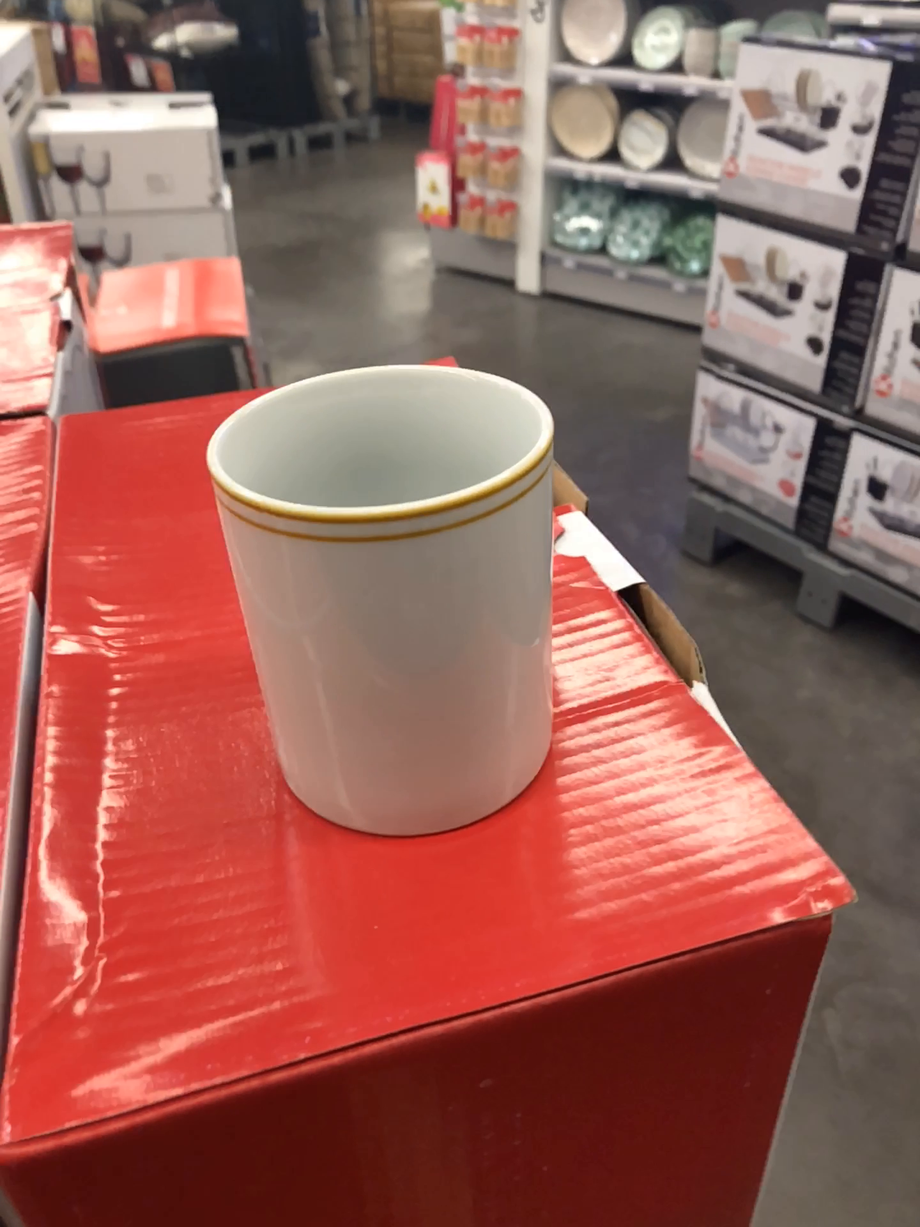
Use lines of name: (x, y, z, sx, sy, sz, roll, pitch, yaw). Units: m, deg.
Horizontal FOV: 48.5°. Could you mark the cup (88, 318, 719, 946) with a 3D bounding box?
cup: (-0.007, -0.007, 0.259, 0.096, 0.091, 0.116, 18, 37, 27)
